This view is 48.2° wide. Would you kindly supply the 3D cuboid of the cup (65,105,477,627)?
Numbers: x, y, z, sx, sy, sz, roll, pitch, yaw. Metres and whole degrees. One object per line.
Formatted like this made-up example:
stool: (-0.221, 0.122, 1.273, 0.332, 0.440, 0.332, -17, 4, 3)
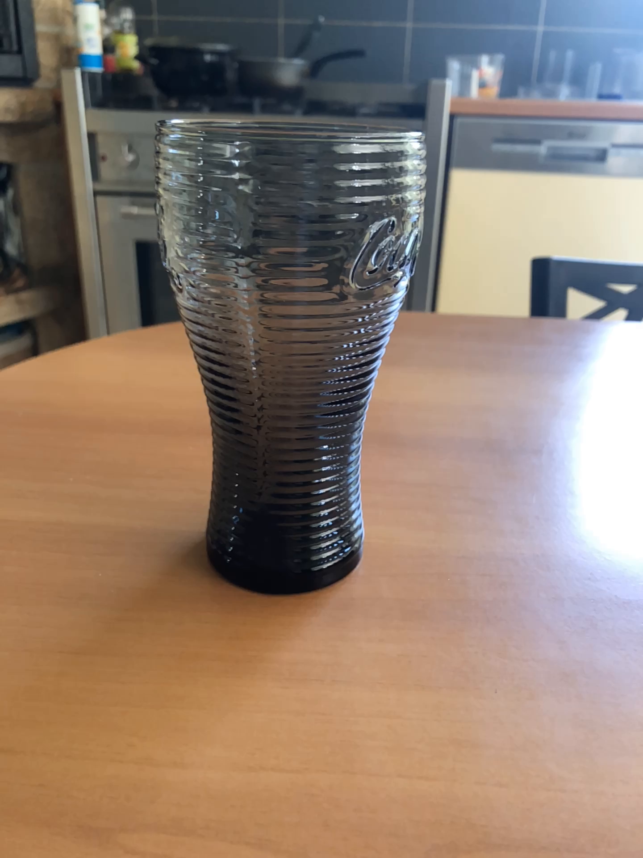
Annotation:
cup: (-0.015, -0.028, 0.224, 0.080, 0.129, 0.080, 2, 24, -1)
